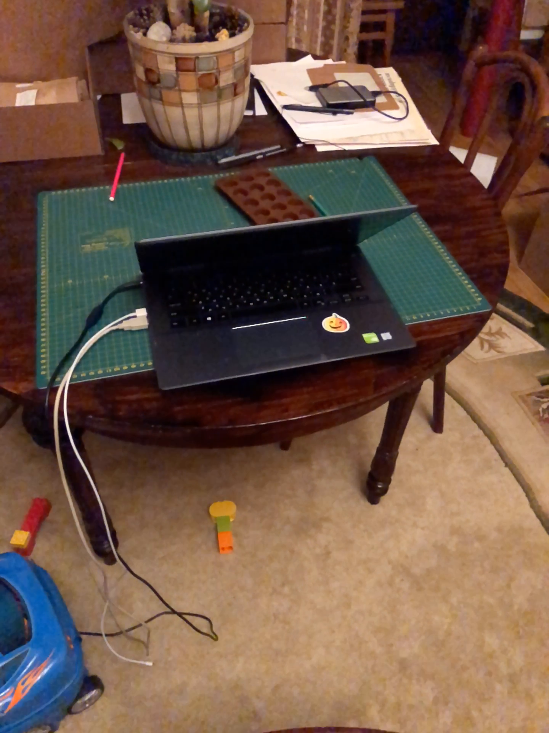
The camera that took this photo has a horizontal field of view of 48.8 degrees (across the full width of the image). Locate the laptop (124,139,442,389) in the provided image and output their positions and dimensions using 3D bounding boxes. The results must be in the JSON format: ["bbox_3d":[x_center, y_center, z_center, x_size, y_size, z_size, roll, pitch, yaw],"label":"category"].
[{"bbox_3d":[-0.003,-0.136,0.746,0.317,0.162,0.225,-10,48,-11],"label":"laptop"}]
